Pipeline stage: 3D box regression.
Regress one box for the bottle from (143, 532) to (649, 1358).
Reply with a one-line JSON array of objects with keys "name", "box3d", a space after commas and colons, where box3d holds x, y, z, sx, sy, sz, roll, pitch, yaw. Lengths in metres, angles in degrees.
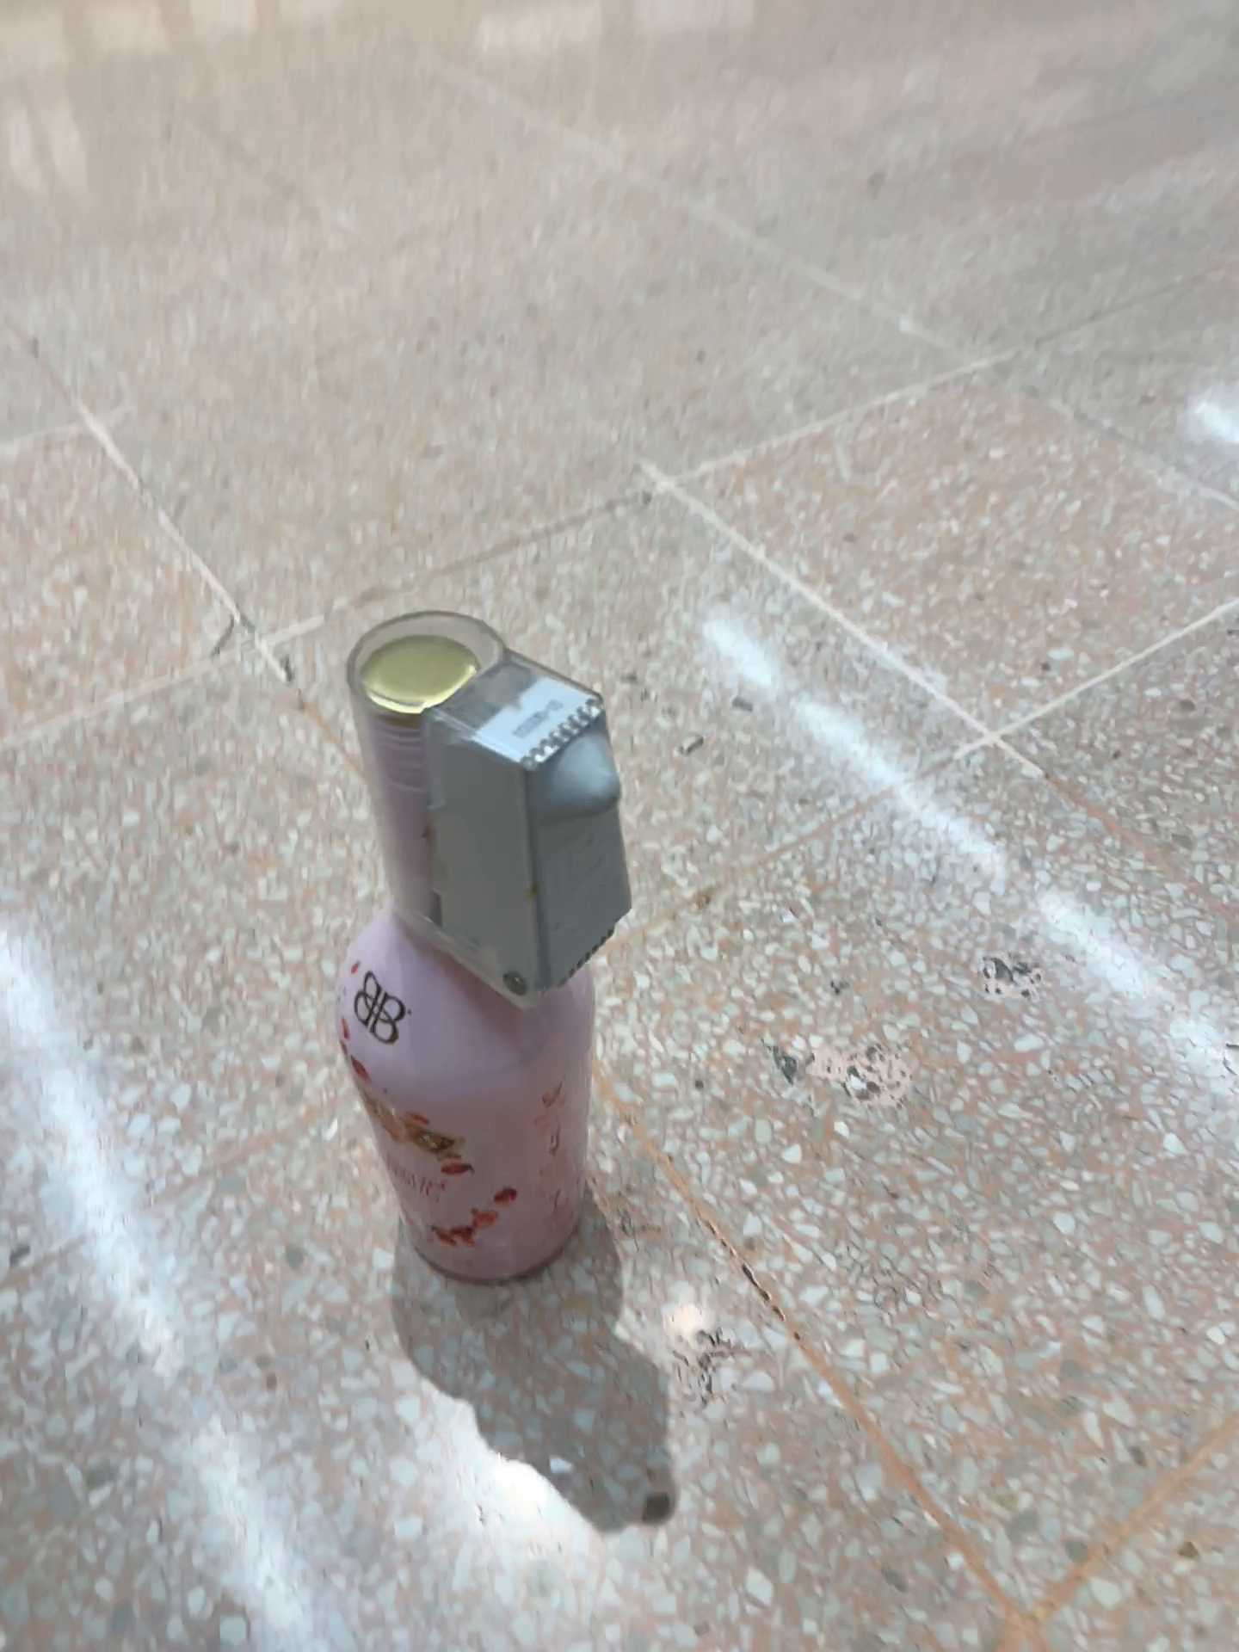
[{"name": "bottle", "box3d": [-0.055, 0.053, 0.393, 0.073, 0.253, 0.104, -33, 55, -27]}]
